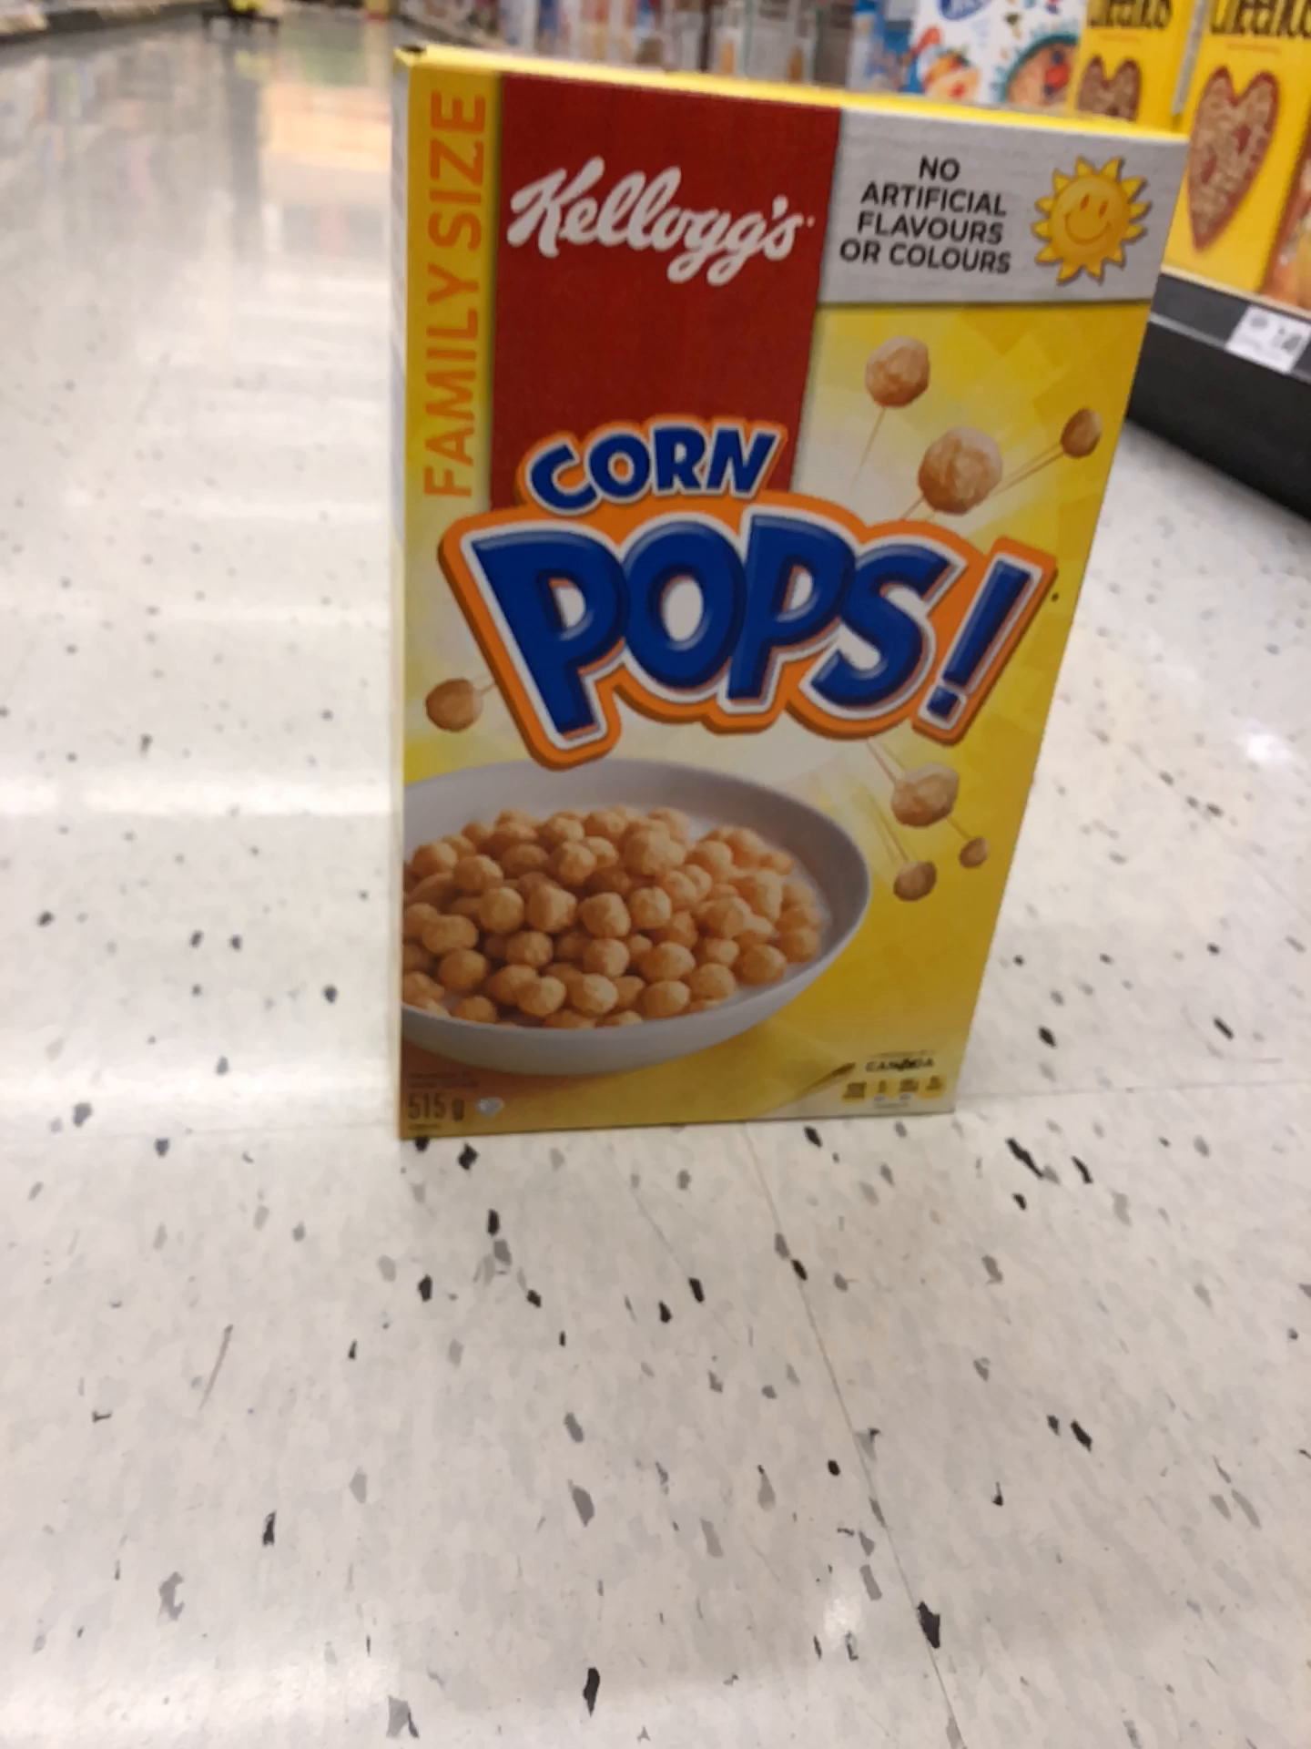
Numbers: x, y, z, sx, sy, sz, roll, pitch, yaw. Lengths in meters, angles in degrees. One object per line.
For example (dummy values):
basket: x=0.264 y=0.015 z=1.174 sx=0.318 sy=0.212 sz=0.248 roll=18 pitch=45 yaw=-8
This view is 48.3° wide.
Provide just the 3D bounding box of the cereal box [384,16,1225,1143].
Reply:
cereal box: x=0.019 y=-0.076 z=0.463 sx=0.200 sy=0.318 sz=0.101 roll=-1 pitch=30 yaw=-13
